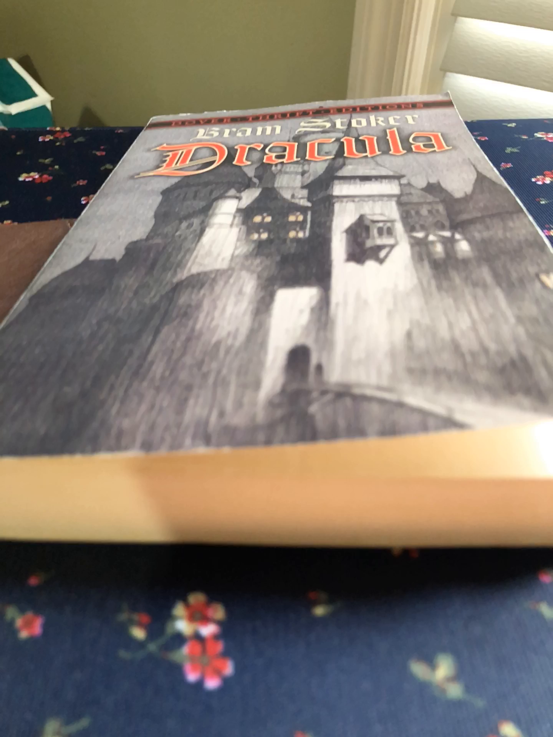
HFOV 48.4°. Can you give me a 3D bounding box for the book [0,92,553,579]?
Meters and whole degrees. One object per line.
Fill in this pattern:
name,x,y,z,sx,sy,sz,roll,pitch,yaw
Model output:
book,0.002,-0.035,0.187,0.130,0.033,0.204,-2,38,5
